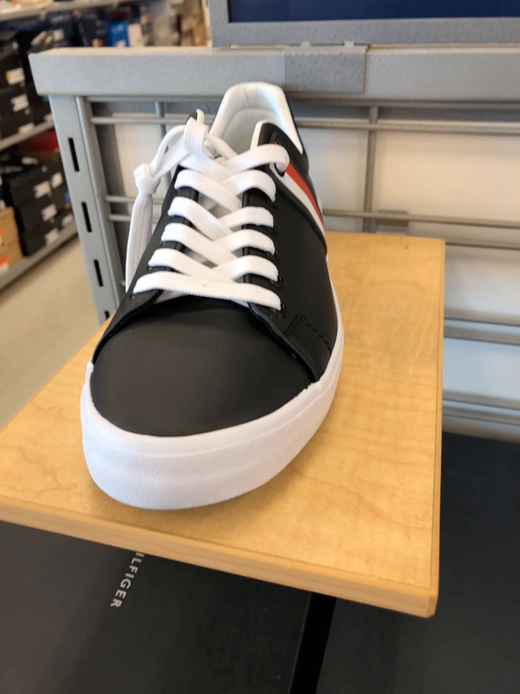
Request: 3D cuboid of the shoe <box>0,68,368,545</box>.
[{"bbox_3d":[-0.006,-0.061,0.275,0.100,0.089,0.292,3,33,7],"label":"shoe"}]
